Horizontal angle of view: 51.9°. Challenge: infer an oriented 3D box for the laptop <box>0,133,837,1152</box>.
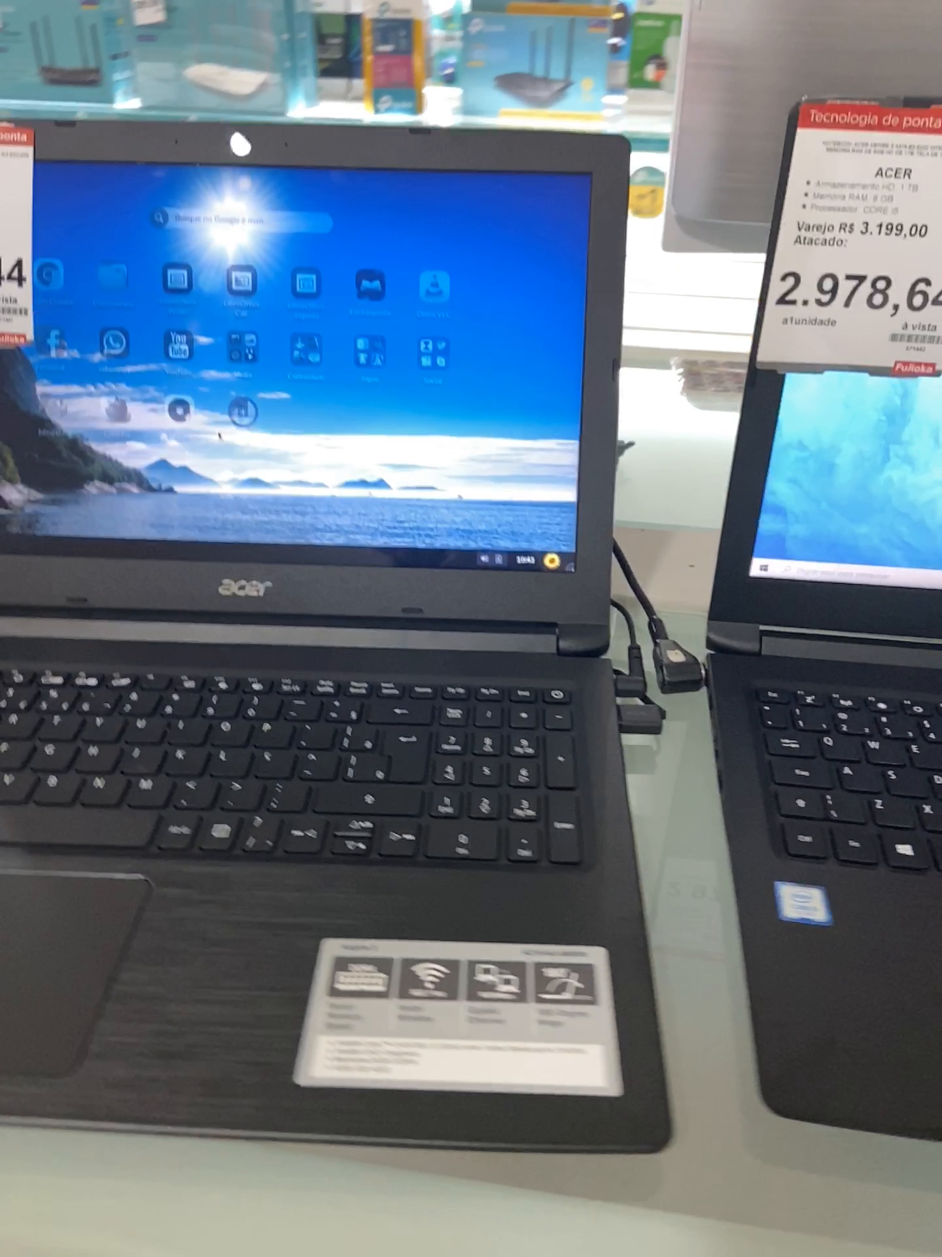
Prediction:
[{"bbox_3d":[-0.124,-0.049,0.391,0.389,0.226,0.377,2,33,2],"label":"laptop"}]
